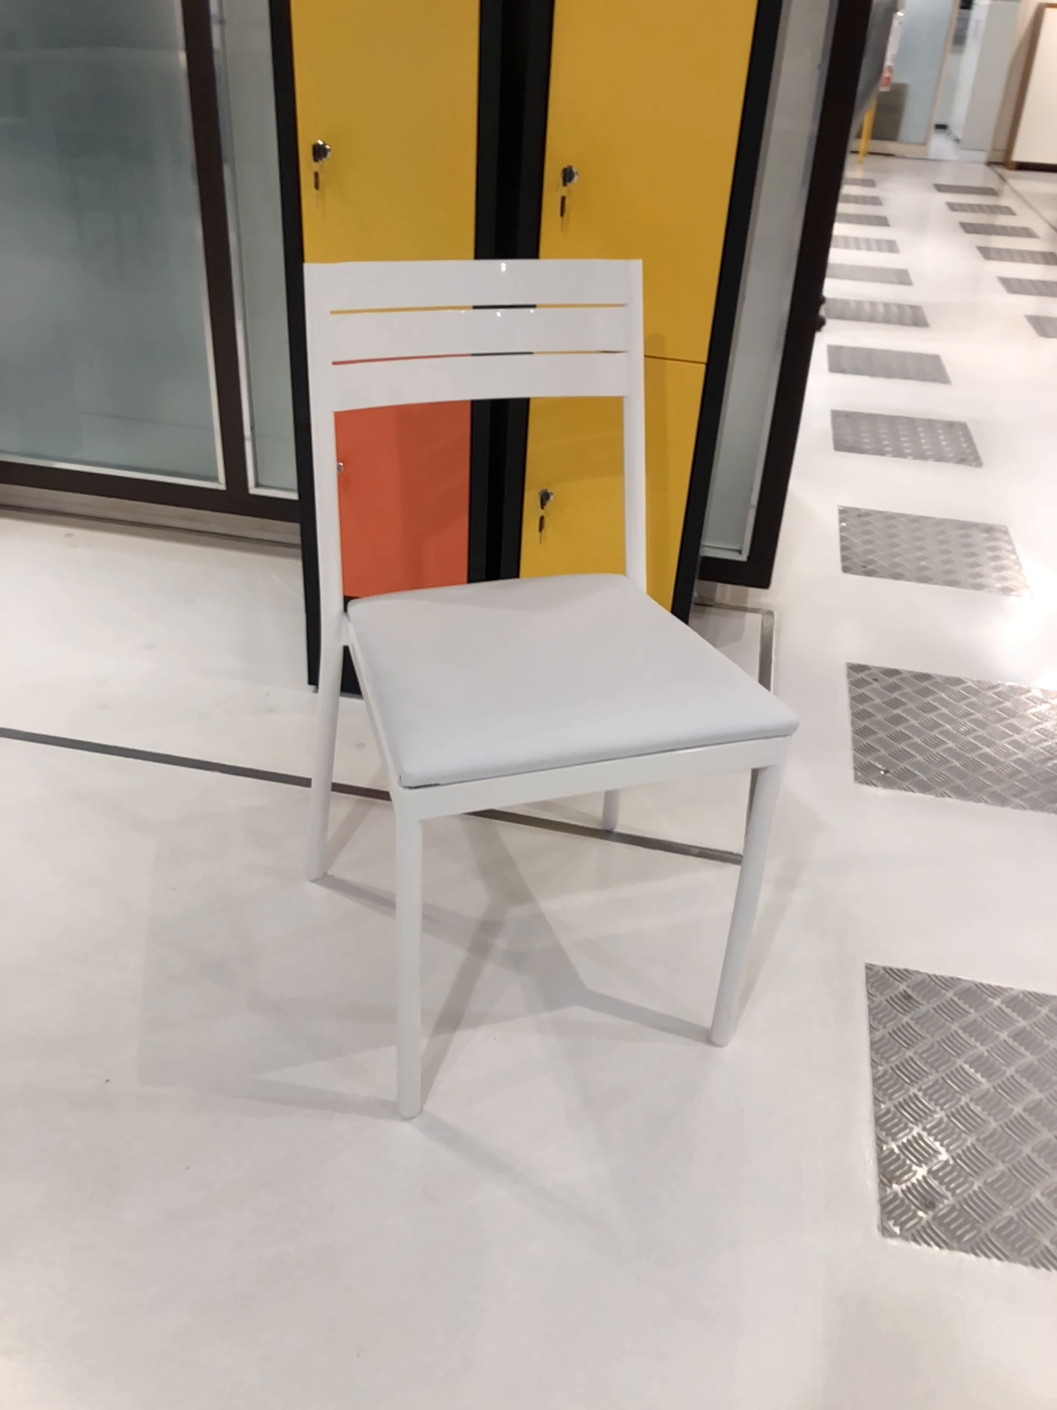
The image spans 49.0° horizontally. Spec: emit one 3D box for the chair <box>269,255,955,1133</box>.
[{"bbox_3d":[0.017,-0.046,1.268,0.481,0.734,0.533,-7,33,-16],"label":"chair"}]
